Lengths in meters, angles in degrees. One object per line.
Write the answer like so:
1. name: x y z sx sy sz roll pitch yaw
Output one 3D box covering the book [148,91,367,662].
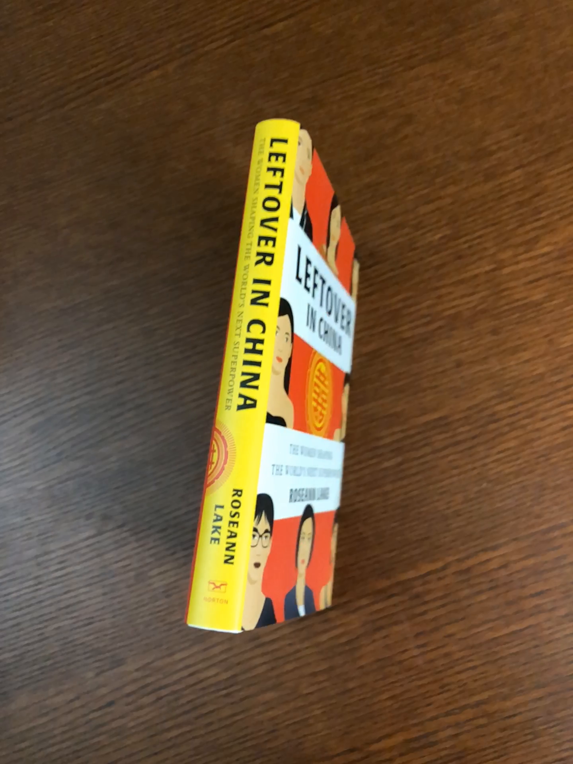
1. book: 0.002 0.004 0.372 0.060 0.180 0.260 4 76 10
